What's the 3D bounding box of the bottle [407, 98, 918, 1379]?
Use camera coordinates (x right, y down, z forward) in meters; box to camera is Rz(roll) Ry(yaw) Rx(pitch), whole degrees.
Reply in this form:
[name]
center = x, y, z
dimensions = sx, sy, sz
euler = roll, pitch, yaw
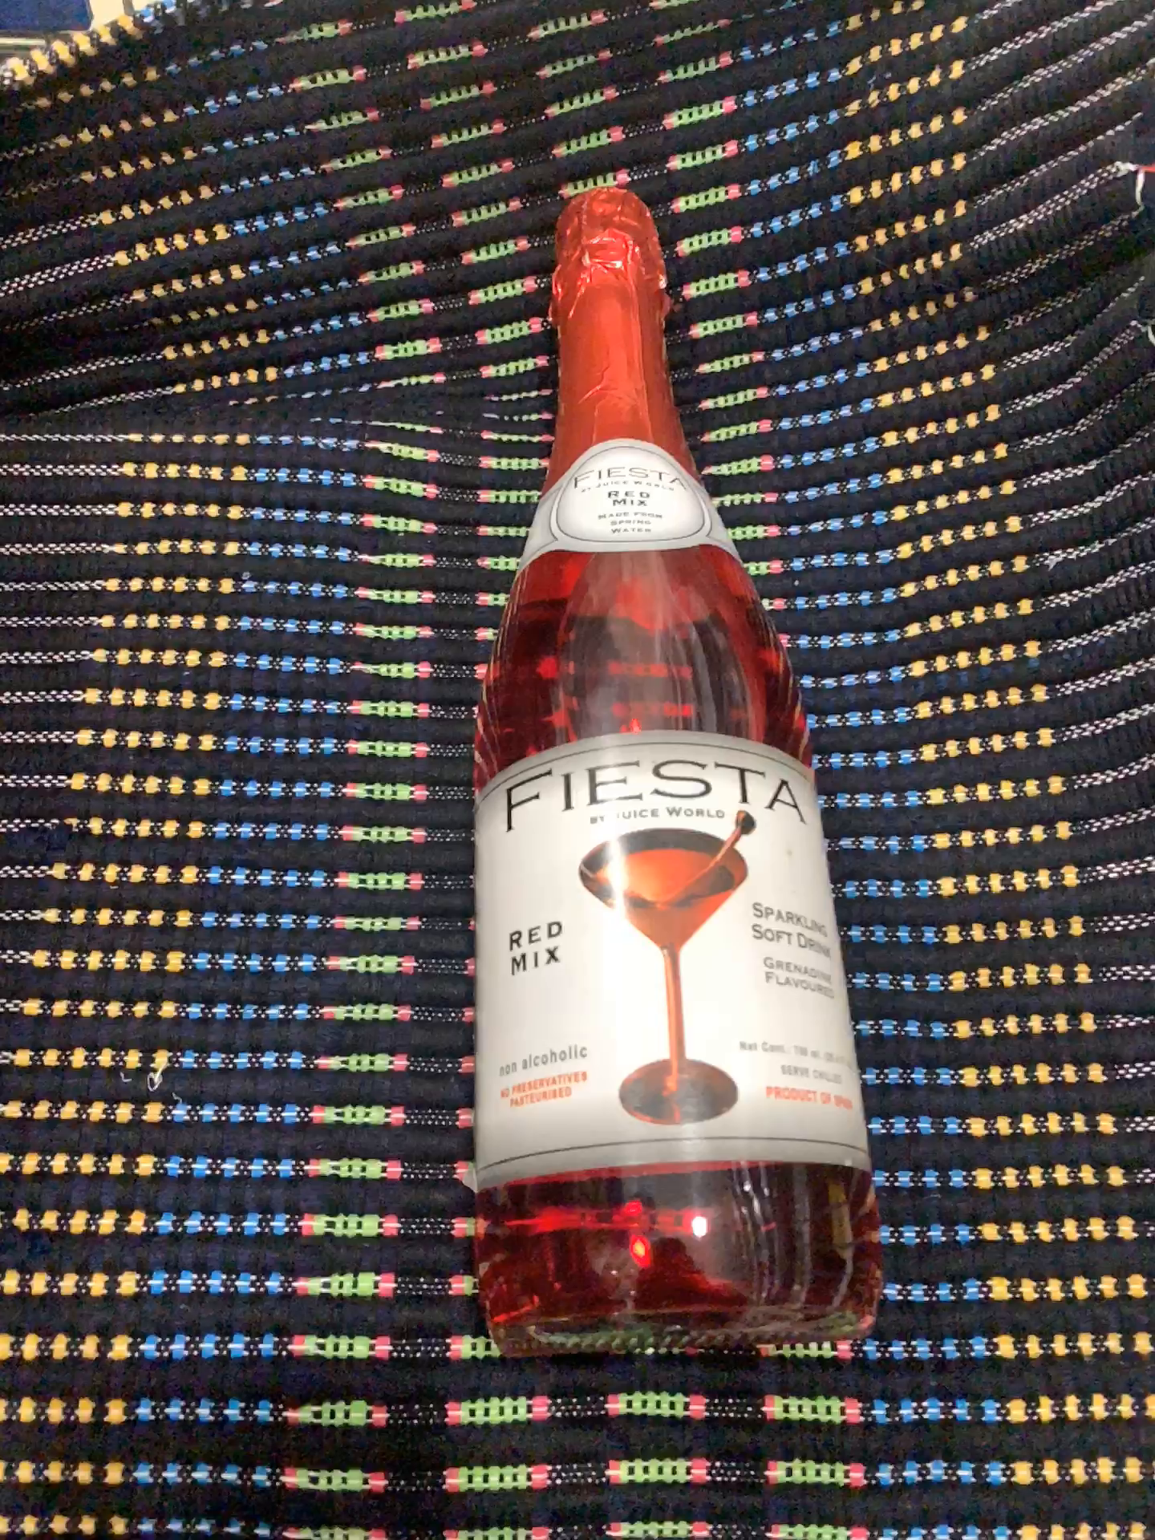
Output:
[bottle]
center = 0.007, -0.029, 0.288
dimensions = 0.080, 0.070, 0.310
euler = -4, 63, 1
